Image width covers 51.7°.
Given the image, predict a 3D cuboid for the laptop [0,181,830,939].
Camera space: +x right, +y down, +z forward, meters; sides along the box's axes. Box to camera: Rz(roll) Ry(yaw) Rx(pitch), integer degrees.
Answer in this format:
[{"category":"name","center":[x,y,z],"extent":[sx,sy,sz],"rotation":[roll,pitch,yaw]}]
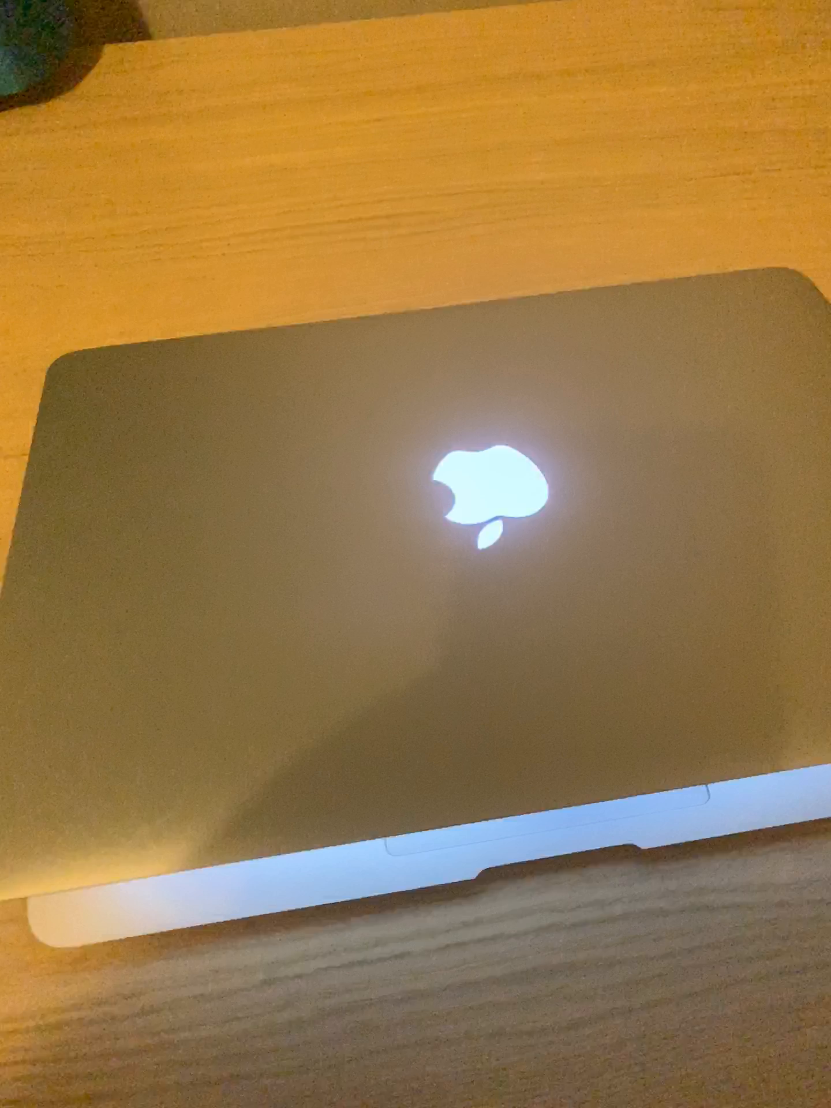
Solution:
[{"category":"laptop","center":[0.027,-0.017,0.293],"extent":[0.319,0.048,0.218],"rotation":[-8,61,-3]}]
